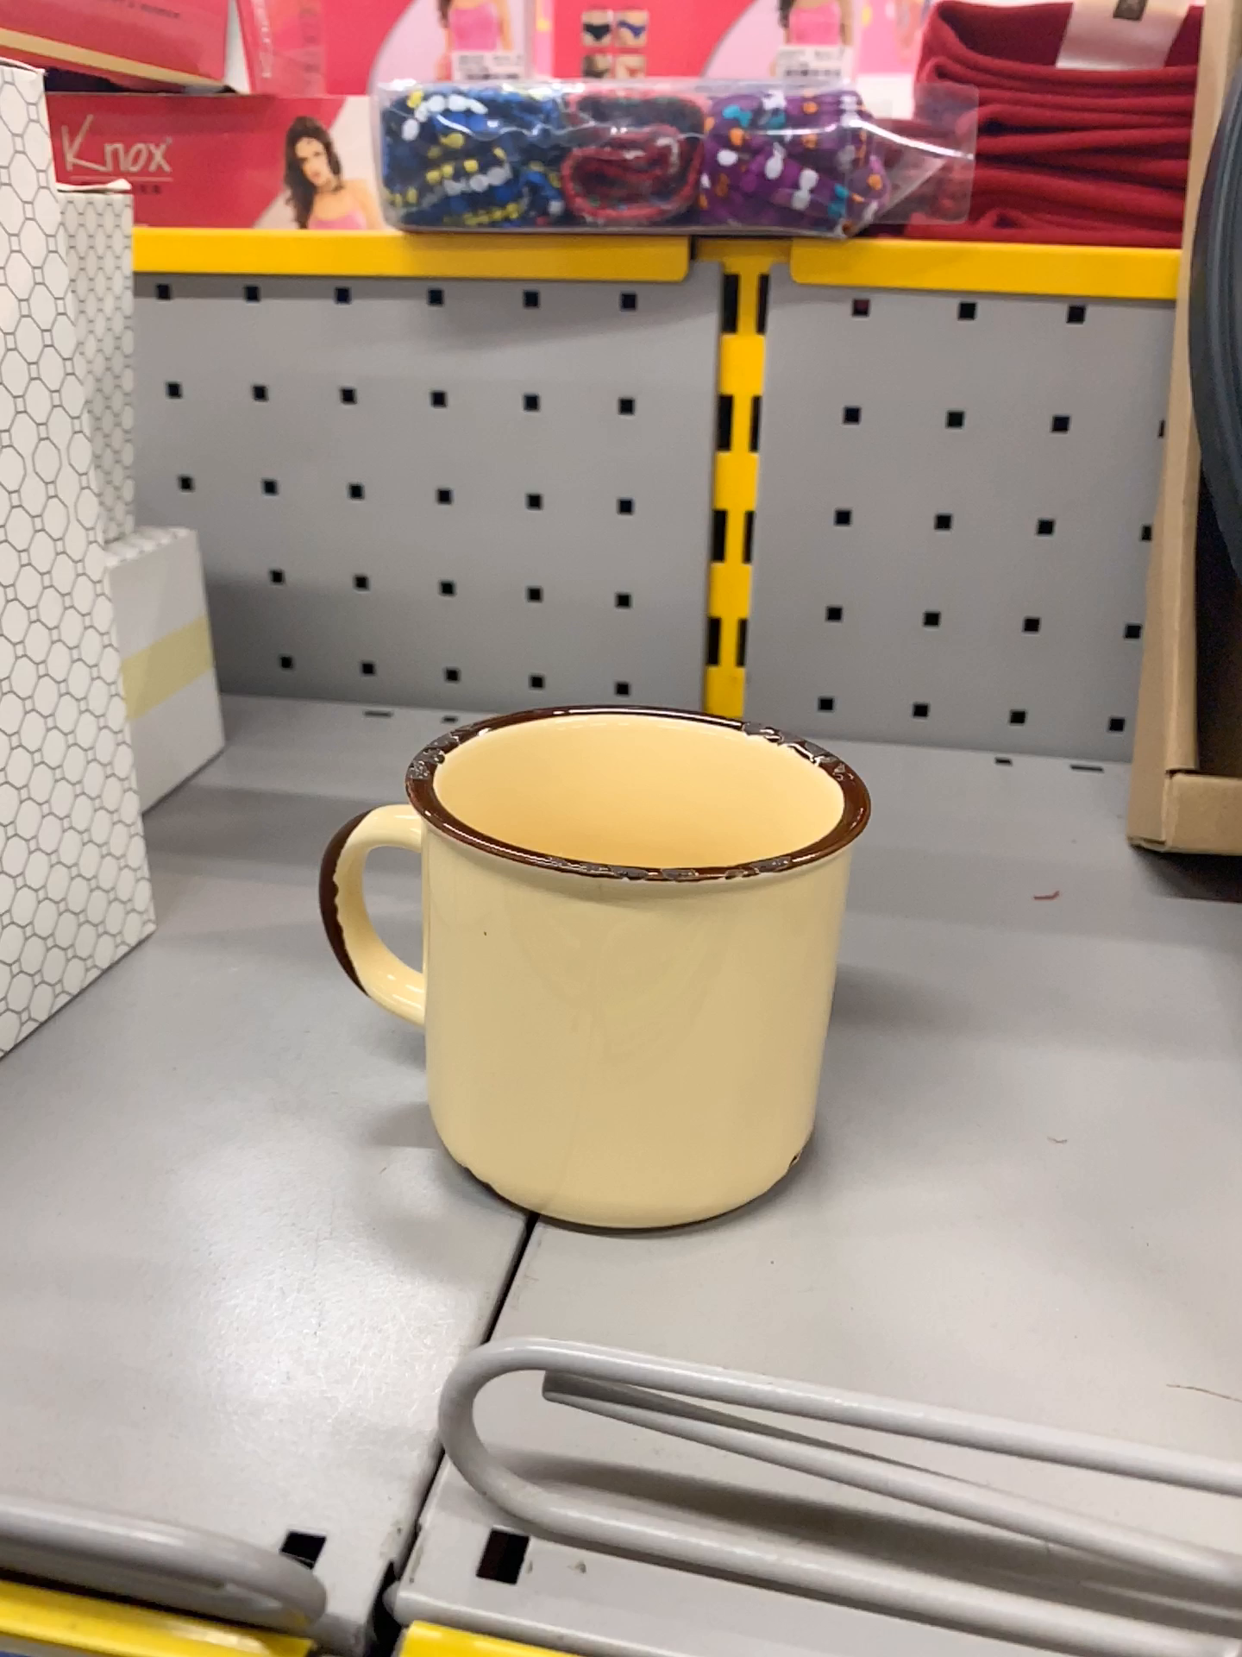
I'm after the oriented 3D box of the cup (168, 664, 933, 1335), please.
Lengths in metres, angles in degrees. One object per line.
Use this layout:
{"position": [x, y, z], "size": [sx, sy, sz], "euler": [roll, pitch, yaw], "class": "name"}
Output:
{"position": [-0.007, 0.024, 0.257], "size": [0.120, 0.080, 0.090], "euler": [8, 25, 15], "class": "cup"}
